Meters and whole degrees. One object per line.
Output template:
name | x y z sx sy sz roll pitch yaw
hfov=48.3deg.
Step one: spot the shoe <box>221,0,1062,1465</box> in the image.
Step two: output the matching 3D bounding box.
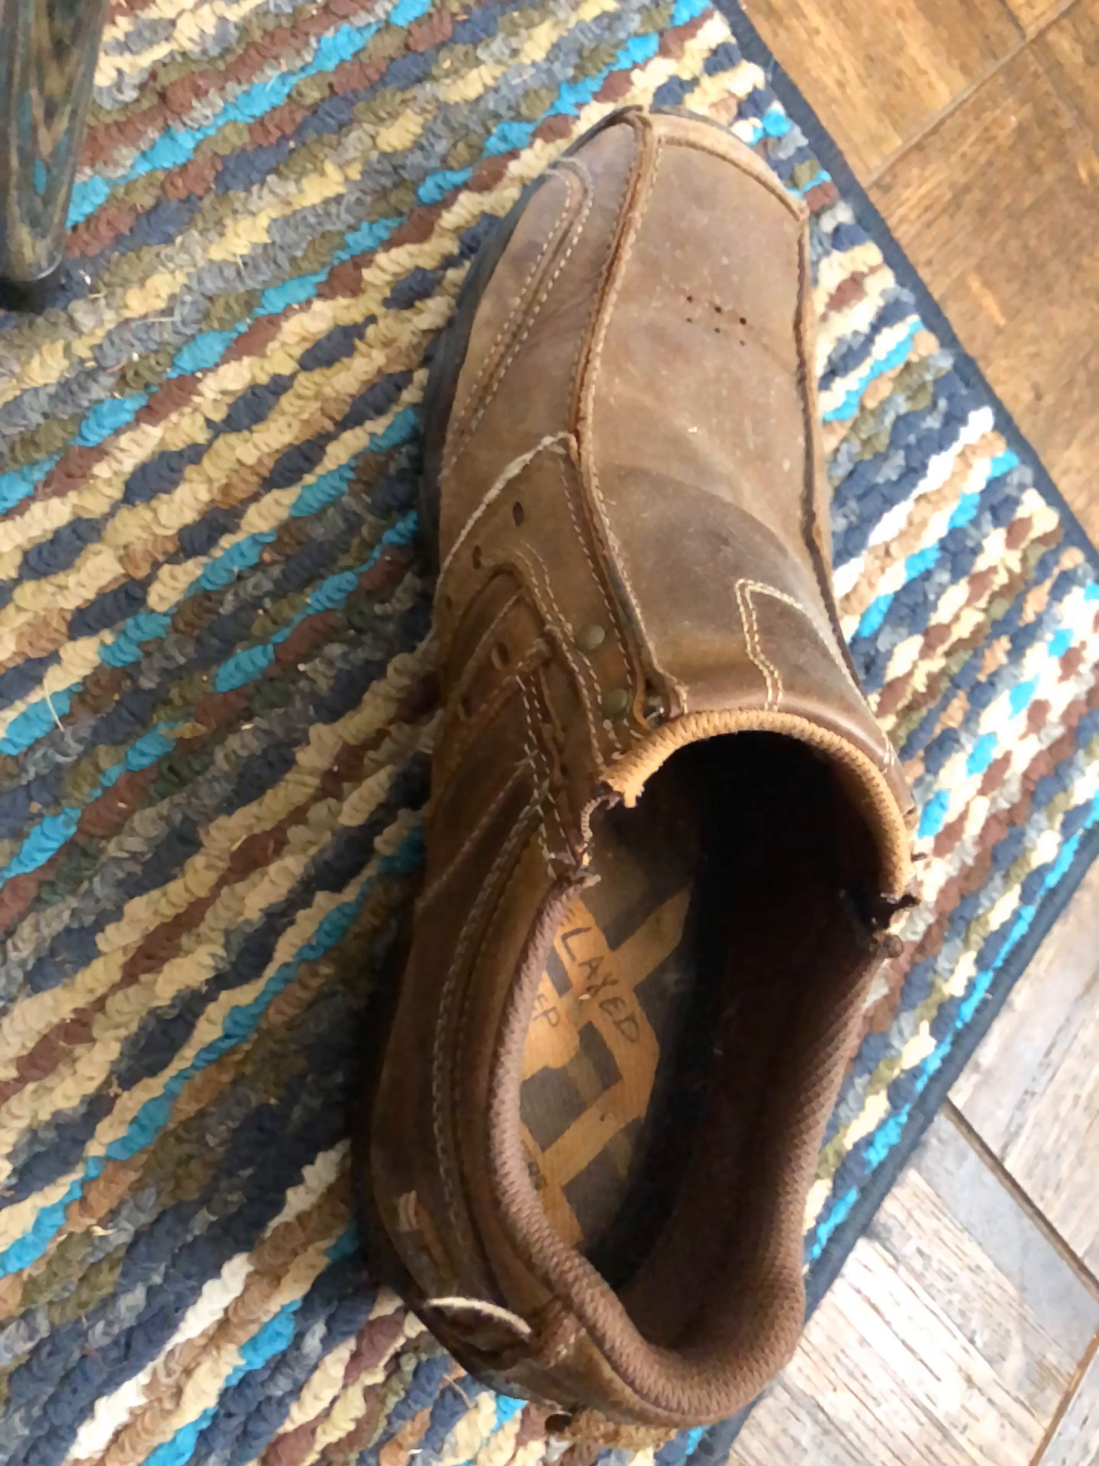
shoe | 0.023 -0.009 0.256 0.100 0.100 0.280 16 75 -26
